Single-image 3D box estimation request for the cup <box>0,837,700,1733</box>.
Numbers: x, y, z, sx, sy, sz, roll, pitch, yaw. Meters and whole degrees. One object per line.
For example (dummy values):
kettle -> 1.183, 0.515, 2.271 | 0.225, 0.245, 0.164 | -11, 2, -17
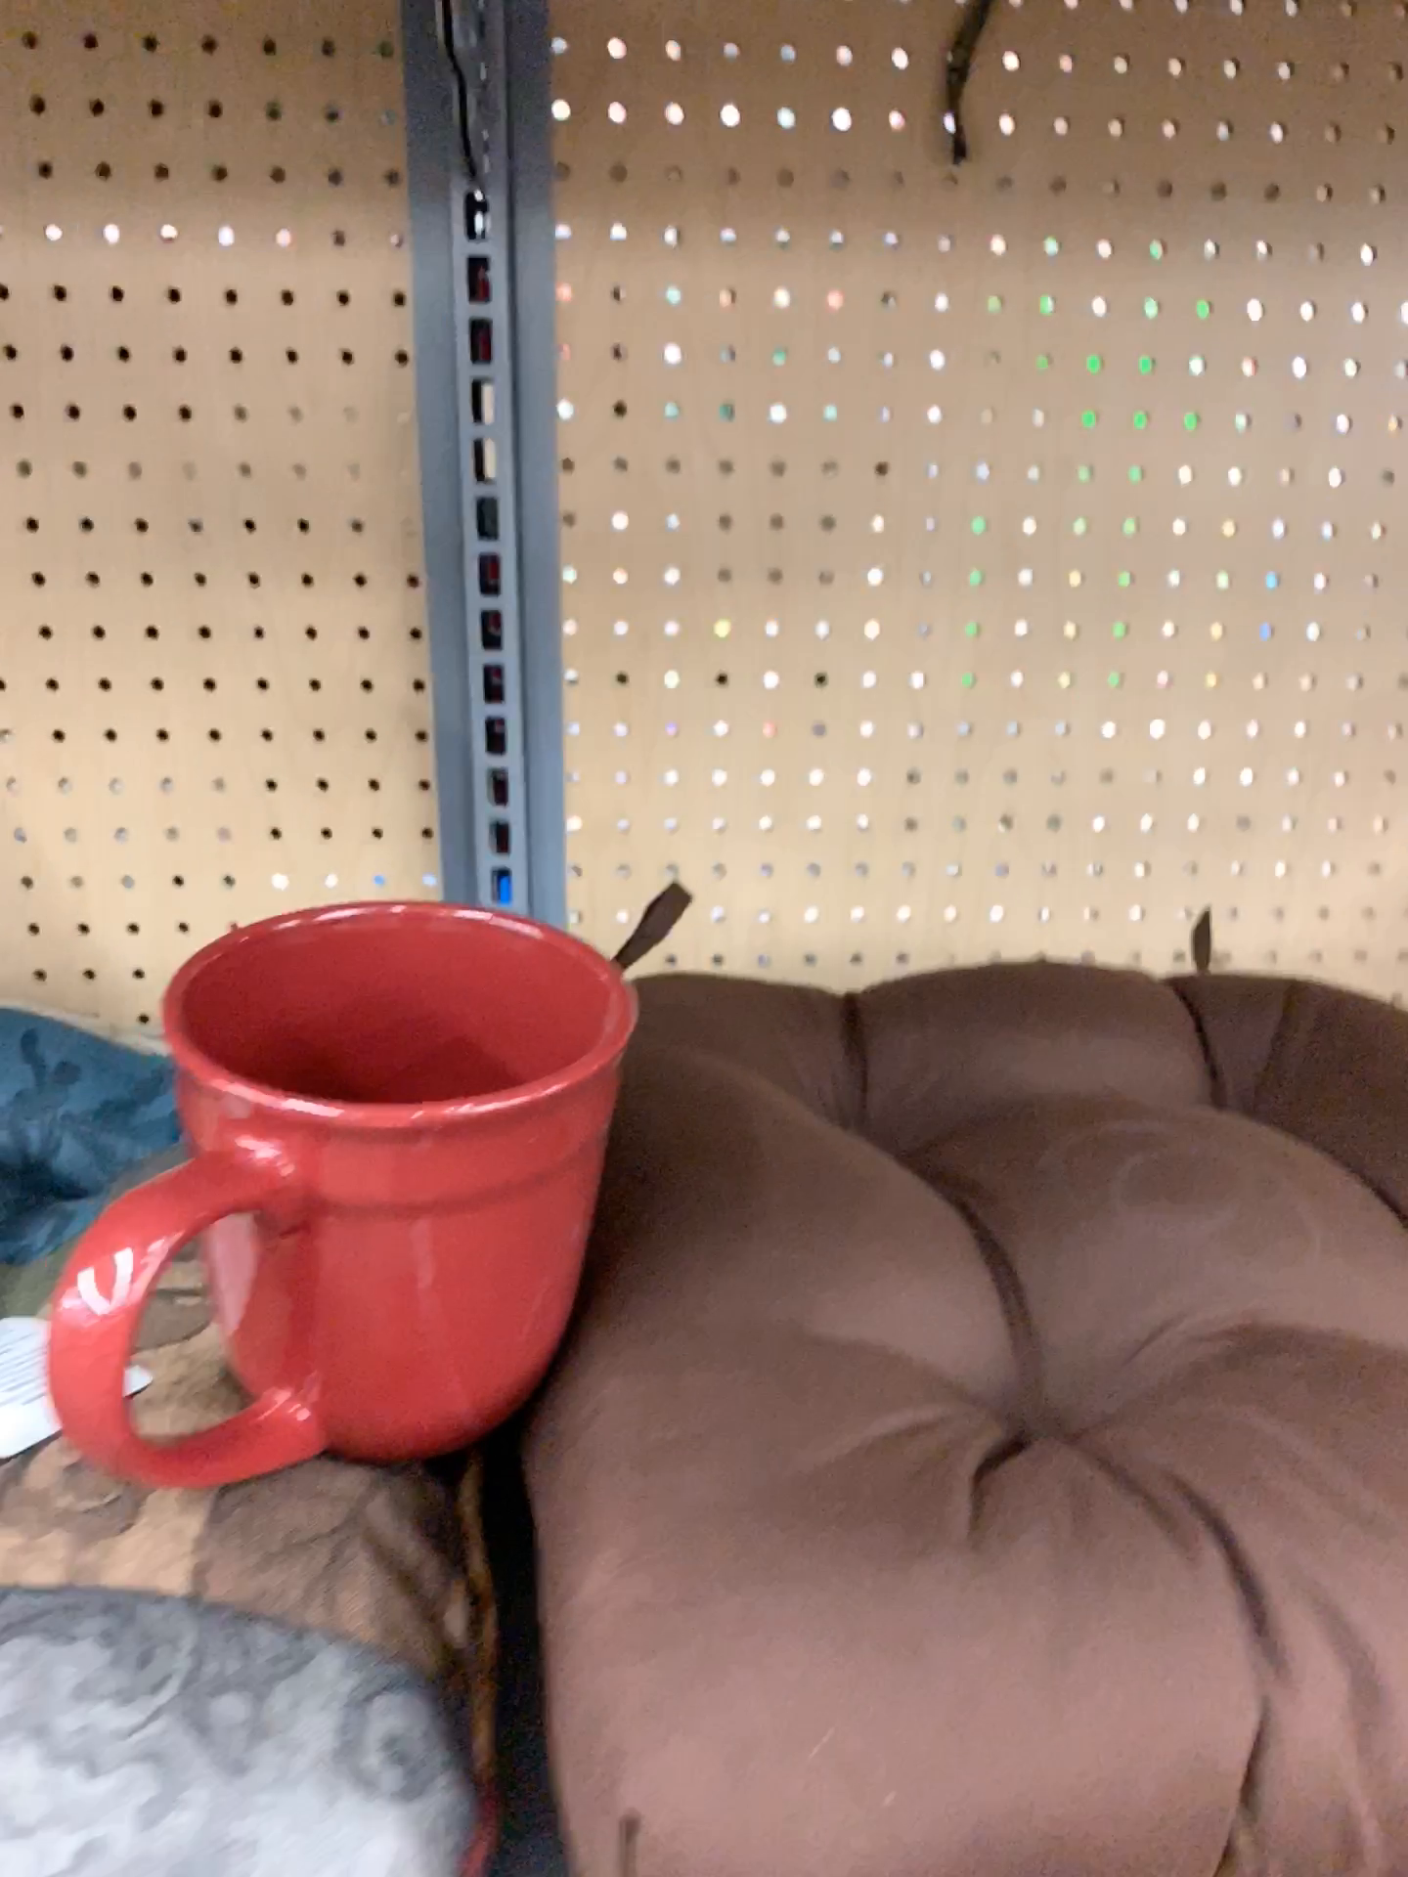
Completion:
cup -> -0.078, 0.054, 0.306 | 0.100, 0.090, 0.151 | 14, 26, 16
